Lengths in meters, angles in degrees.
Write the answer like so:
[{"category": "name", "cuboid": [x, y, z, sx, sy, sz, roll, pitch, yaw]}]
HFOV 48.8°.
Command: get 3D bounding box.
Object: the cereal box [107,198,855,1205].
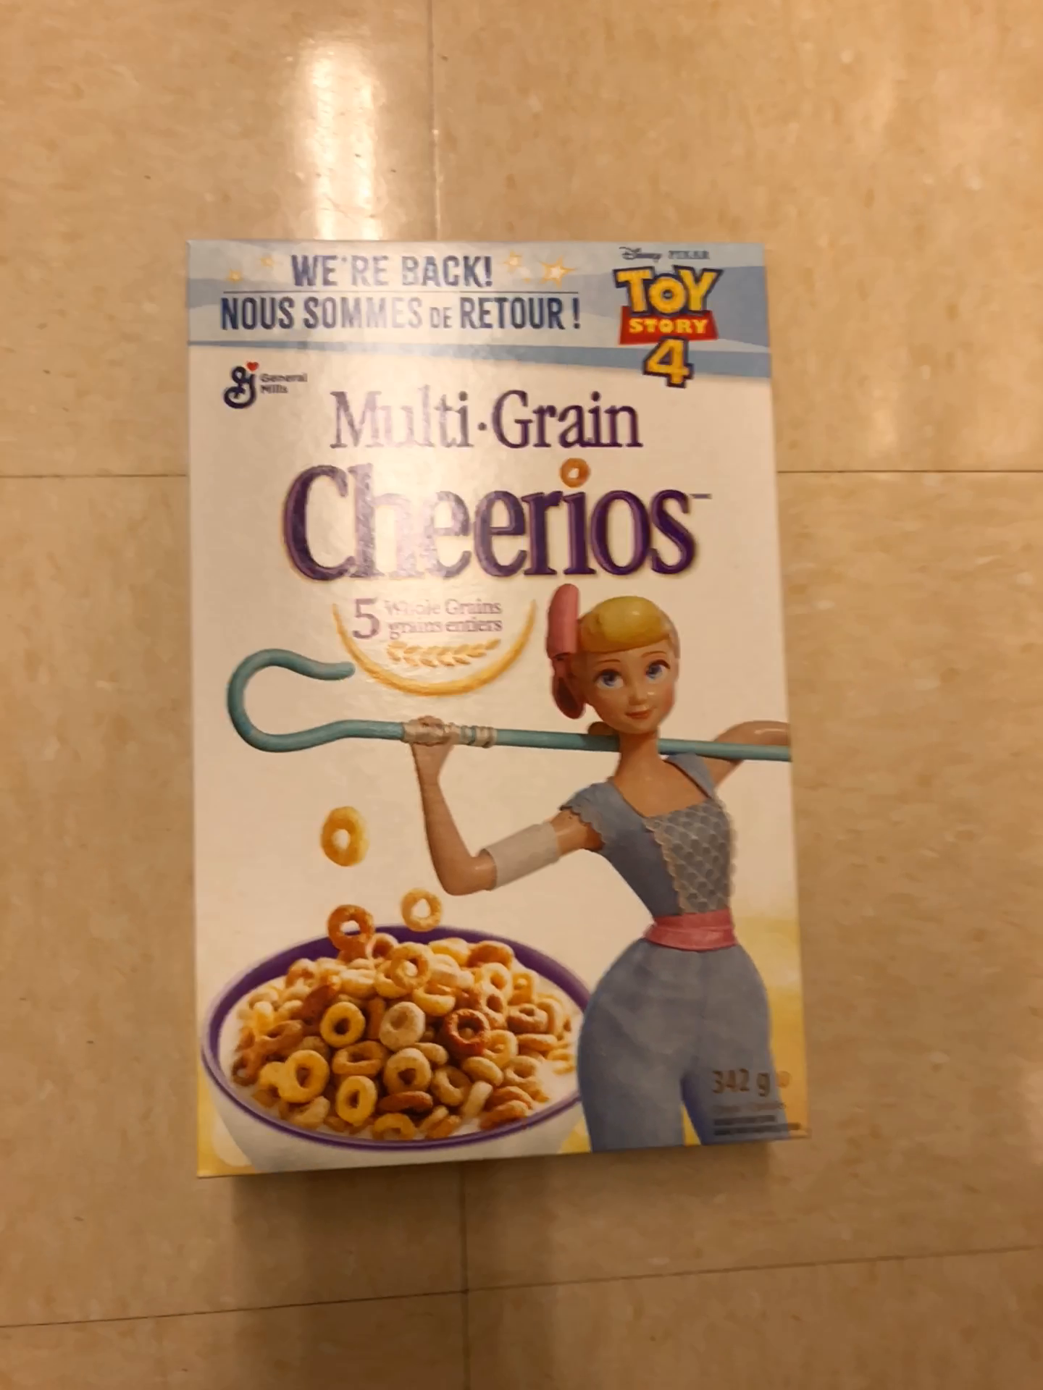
[{"category": "cereal box", "cuboid": [-0.015, -0.004, 0.374, 0.210, 0.070, 0.290, -2, 86, -5]}]
